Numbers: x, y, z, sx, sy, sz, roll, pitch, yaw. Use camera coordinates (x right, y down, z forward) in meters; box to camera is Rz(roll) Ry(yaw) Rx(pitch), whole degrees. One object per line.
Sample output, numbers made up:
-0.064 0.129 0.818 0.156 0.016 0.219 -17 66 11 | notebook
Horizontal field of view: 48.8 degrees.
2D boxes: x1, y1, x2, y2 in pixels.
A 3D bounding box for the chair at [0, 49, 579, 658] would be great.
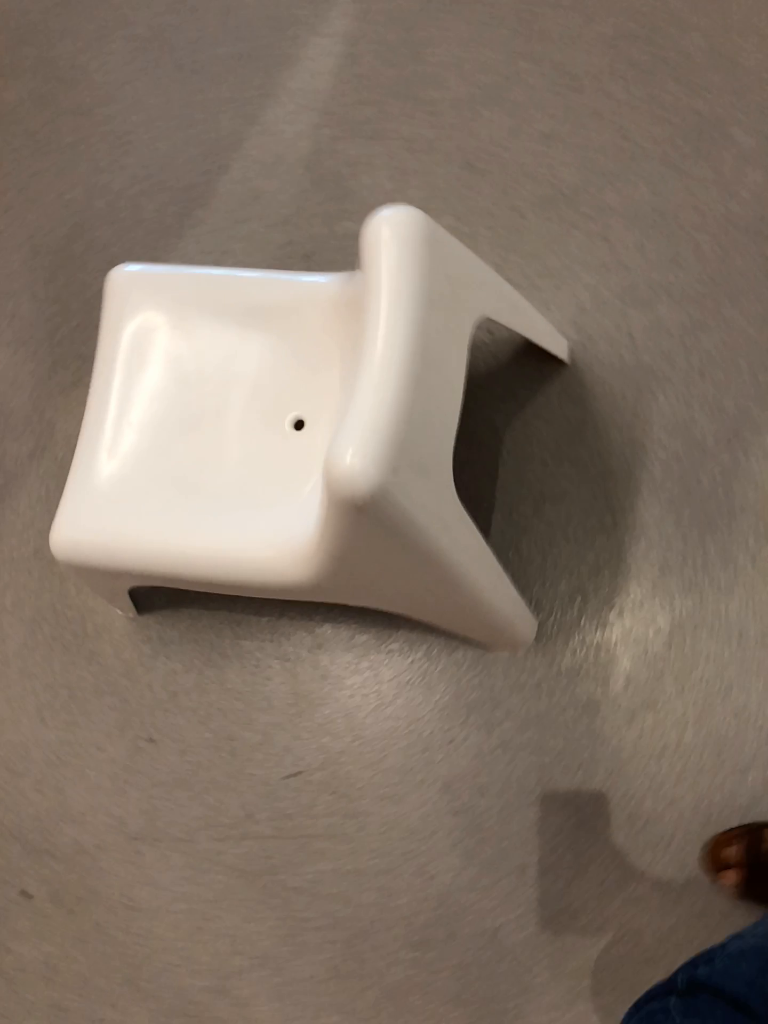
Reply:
-0.145 -0.137 1.008 0.691 0.400 0.530 2 78 16 | chair
